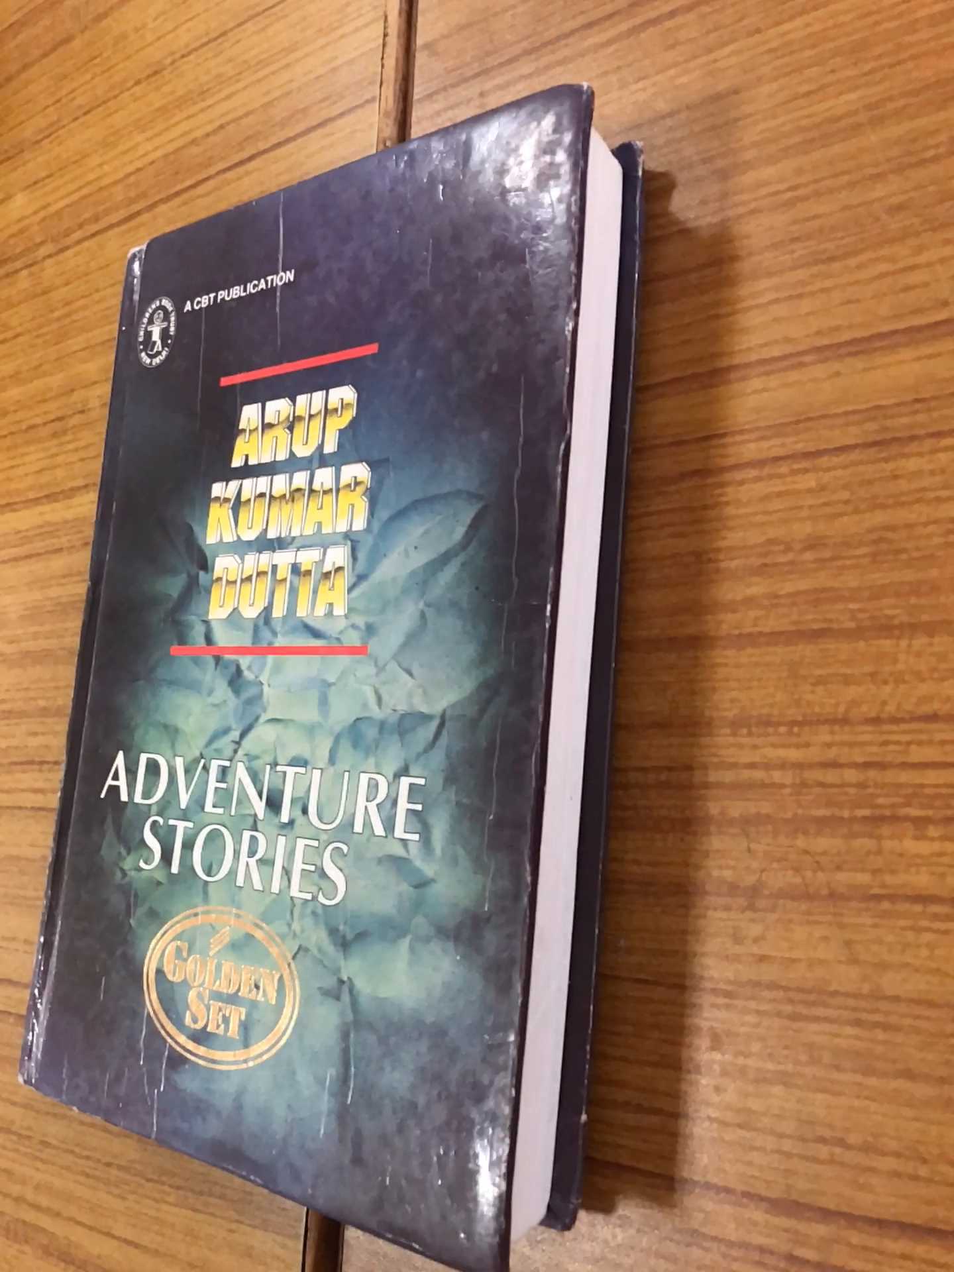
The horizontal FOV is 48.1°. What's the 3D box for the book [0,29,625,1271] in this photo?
[{"bbox_3d":[-0.046,0.005,0.233,0.146,0.036,0.218,-2,81,35],"label":"book"}]
